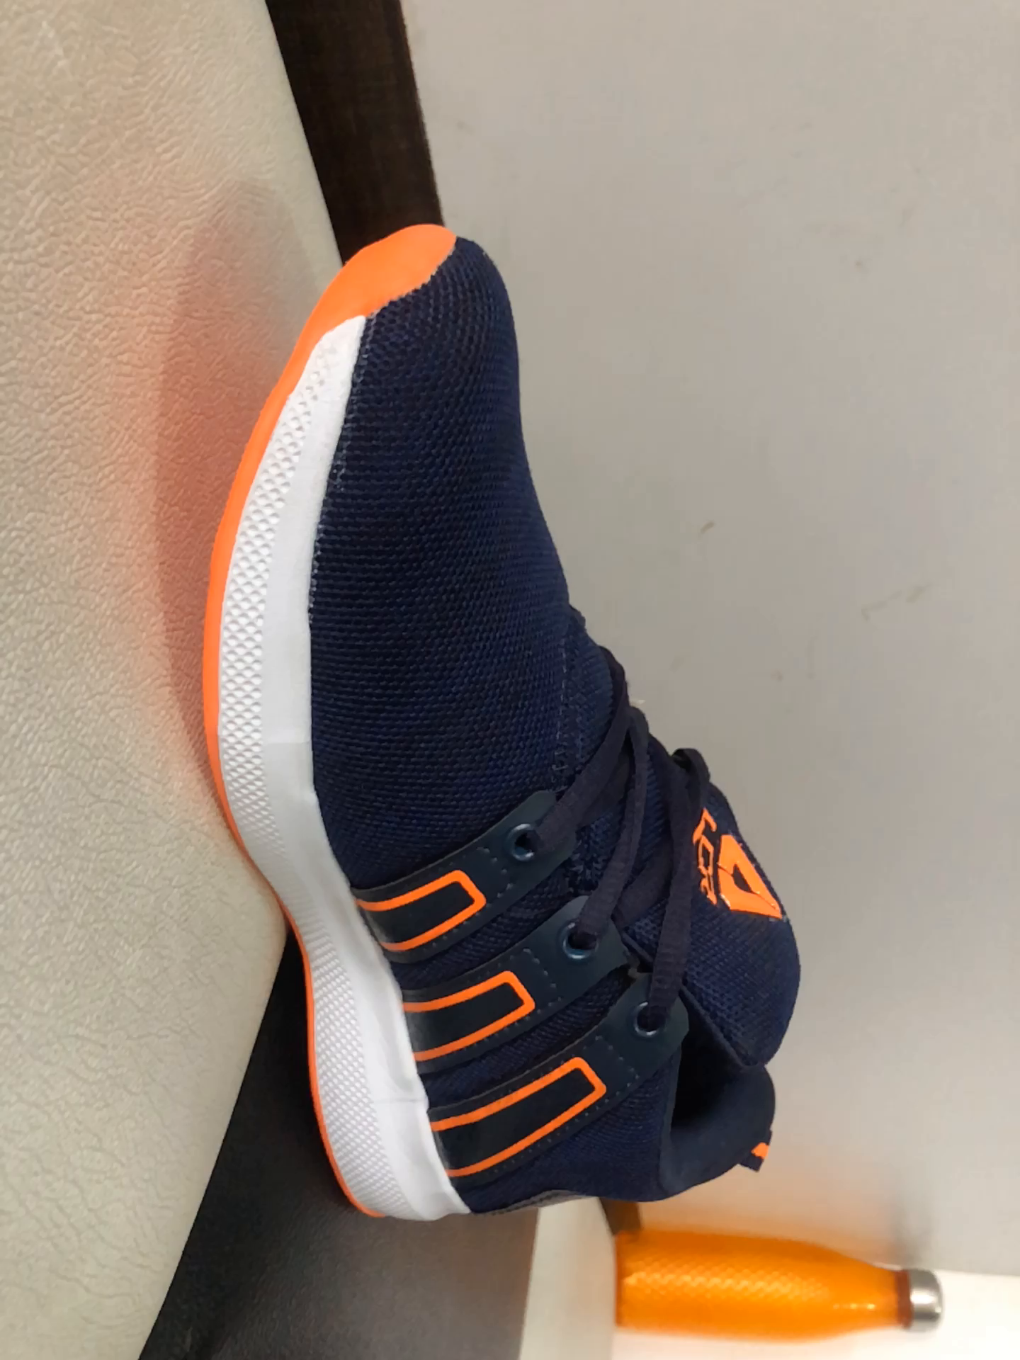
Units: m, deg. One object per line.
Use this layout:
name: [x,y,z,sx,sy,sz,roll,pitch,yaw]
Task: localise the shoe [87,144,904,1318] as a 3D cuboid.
shoe: [0.011,0.032,0.287,0.120,0.110,0.280,-76,167,-49]
